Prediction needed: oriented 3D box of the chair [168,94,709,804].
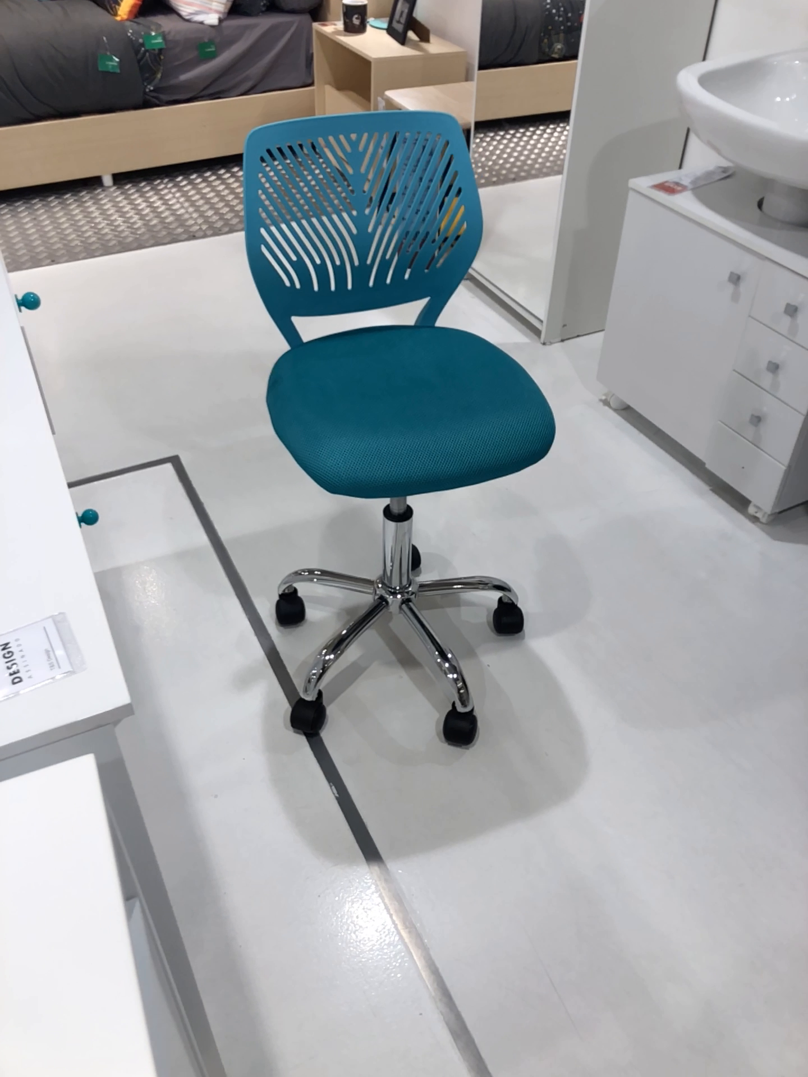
[{"bbox_3d":[-0.002,-0.128,1.303,0.481,0.804,0.533,-12,42,-14],"label":"chair"}]
